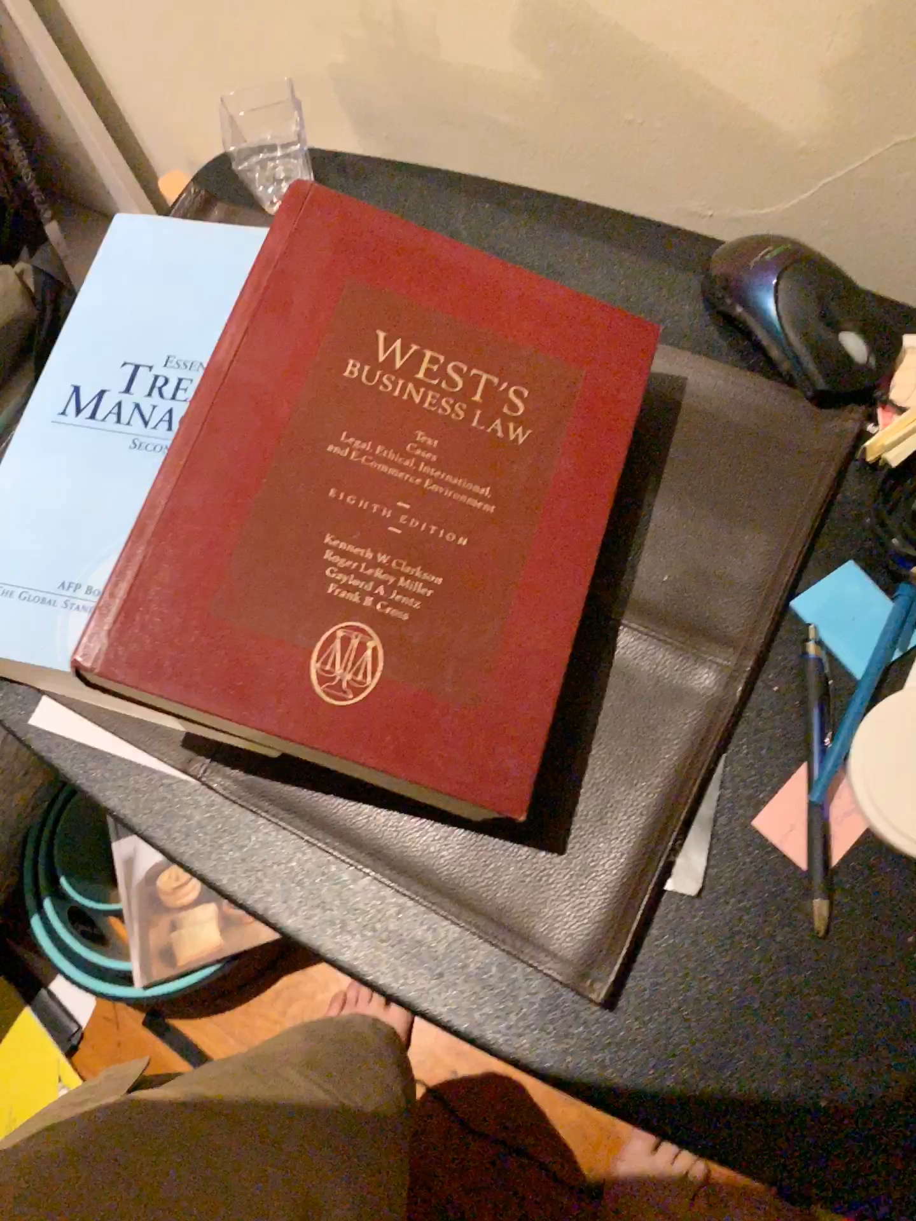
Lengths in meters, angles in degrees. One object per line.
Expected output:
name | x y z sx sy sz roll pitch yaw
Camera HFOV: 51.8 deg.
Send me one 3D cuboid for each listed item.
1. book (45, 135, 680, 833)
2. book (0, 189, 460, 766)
book | -0.029 -0.061 0.442 0.210 0.050 0.270 20 71 -8
book | -0.147 -0.083 0.501 0.220 0.070 0.270 13 71 15
